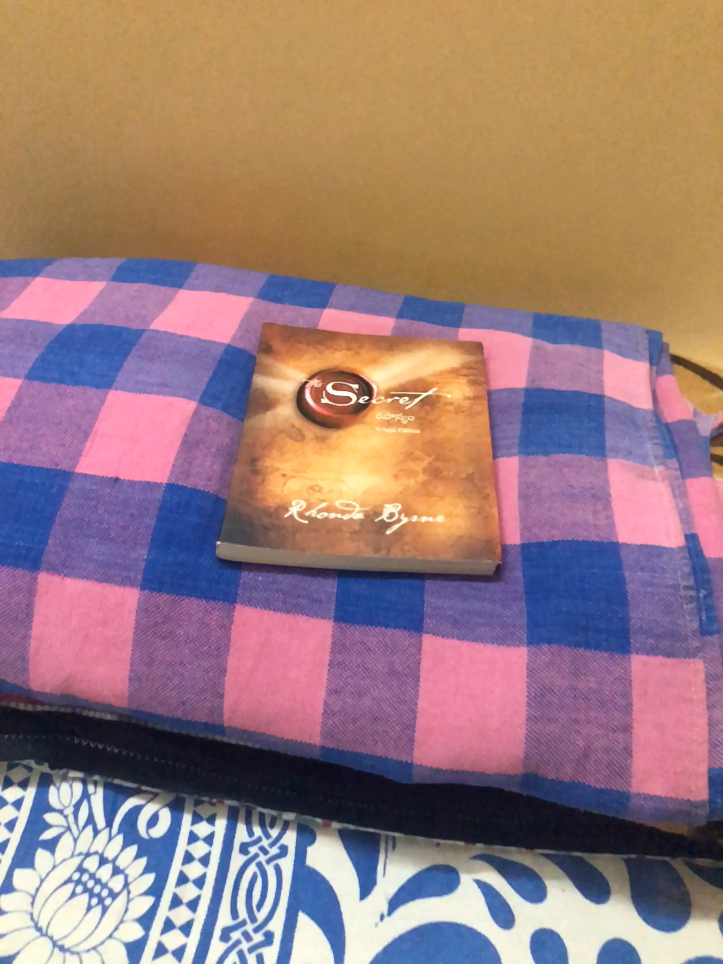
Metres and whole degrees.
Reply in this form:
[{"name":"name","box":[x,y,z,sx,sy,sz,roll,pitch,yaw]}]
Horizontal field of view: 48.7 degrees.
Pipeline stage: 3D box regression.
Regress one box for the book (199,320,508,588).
[{"name":"book","box":[0.002,-0.026,0.460,0.150,0.020,0.191,2,47,3]}]
